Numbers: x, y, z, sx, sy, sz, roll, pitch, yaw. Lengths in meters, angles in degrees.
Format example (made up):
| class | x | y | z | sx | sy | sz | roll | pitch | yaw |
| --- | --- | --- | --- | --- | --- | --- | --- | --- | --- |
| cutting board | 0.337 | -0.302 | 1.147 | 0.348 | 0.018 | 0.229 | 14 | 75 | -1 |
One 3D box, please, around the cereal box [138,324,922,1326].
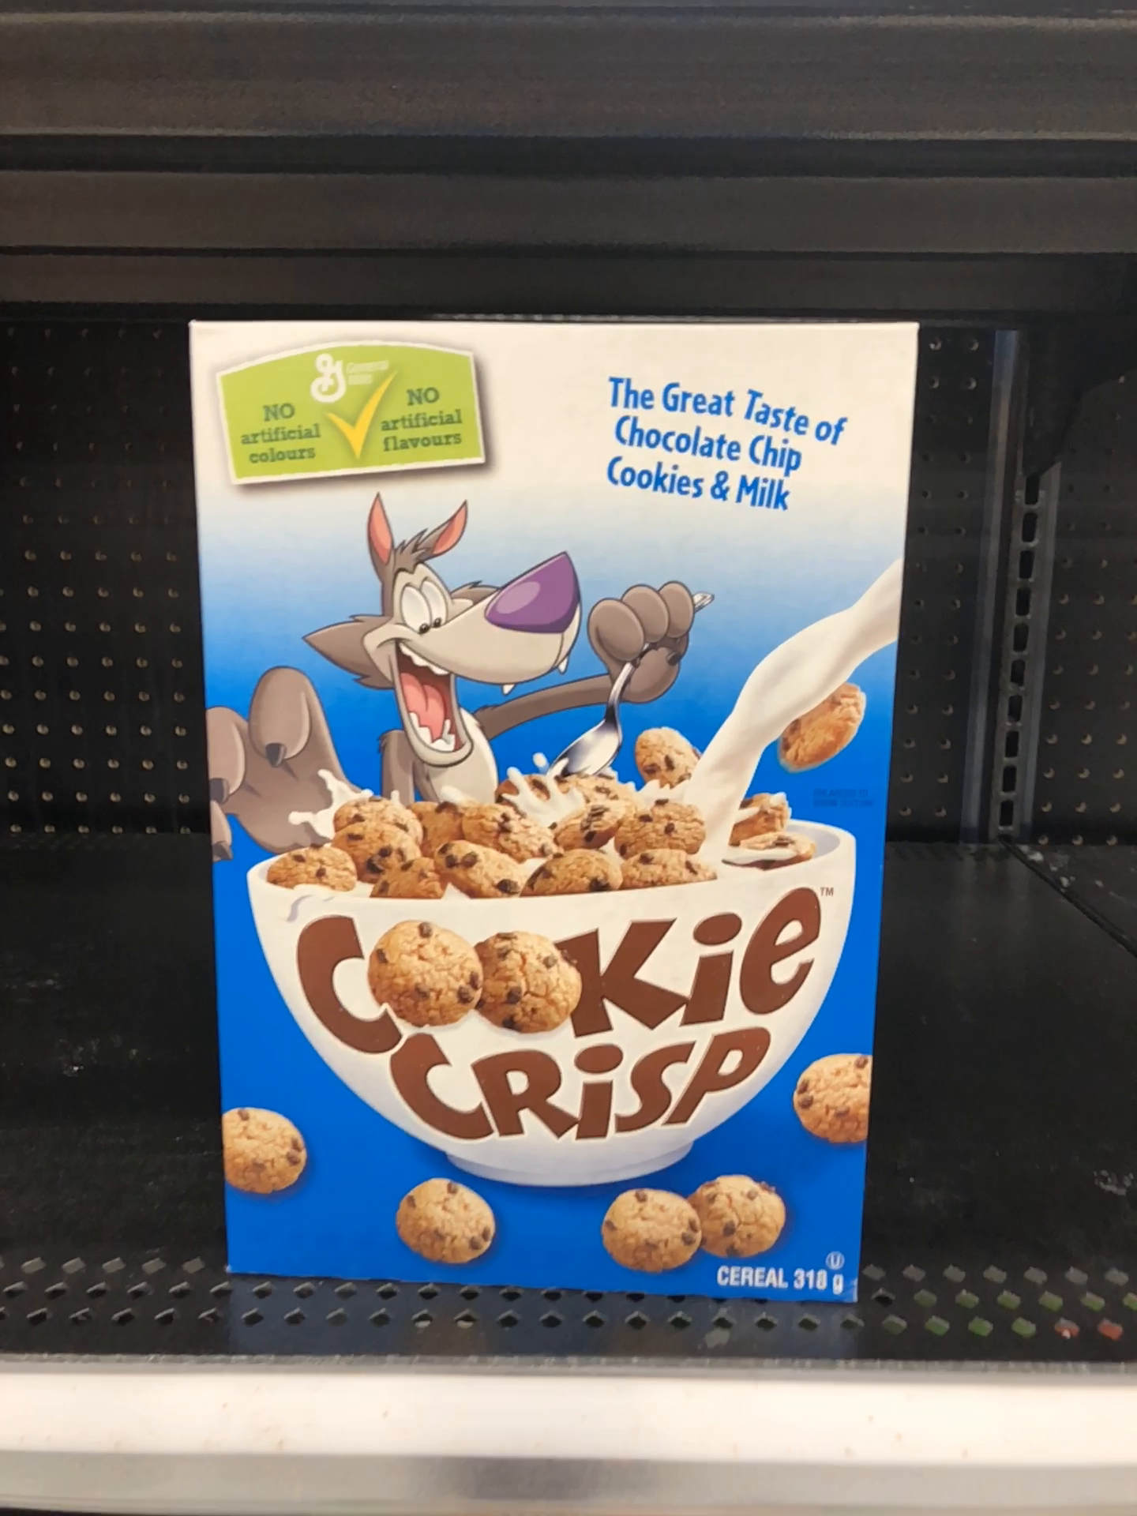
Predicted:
| class | x | y | z | sx | sy | sz | roll | pitch | yaw |
| --- | --- | --- | --- | --- | --- | --- | --- | --- | --- |
| cereal box | -0.011 | 0.021 | 0.375 | 0.200 | 0.279 | 0.060 | 1 | 11 | 3 |
